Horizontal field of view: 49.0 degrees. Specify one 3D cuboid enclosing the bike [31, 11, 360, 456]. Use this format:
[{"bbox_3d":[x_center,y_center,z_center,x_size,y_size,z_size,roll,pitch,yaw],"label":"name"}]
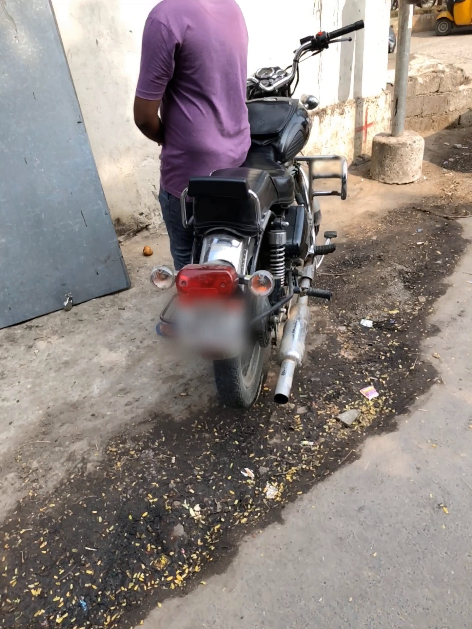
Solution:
[{"bbox_3d":[0.014,-0.578,2.361,0.837,1.173,1.934,-1,34,9],"label":"bike"}]
